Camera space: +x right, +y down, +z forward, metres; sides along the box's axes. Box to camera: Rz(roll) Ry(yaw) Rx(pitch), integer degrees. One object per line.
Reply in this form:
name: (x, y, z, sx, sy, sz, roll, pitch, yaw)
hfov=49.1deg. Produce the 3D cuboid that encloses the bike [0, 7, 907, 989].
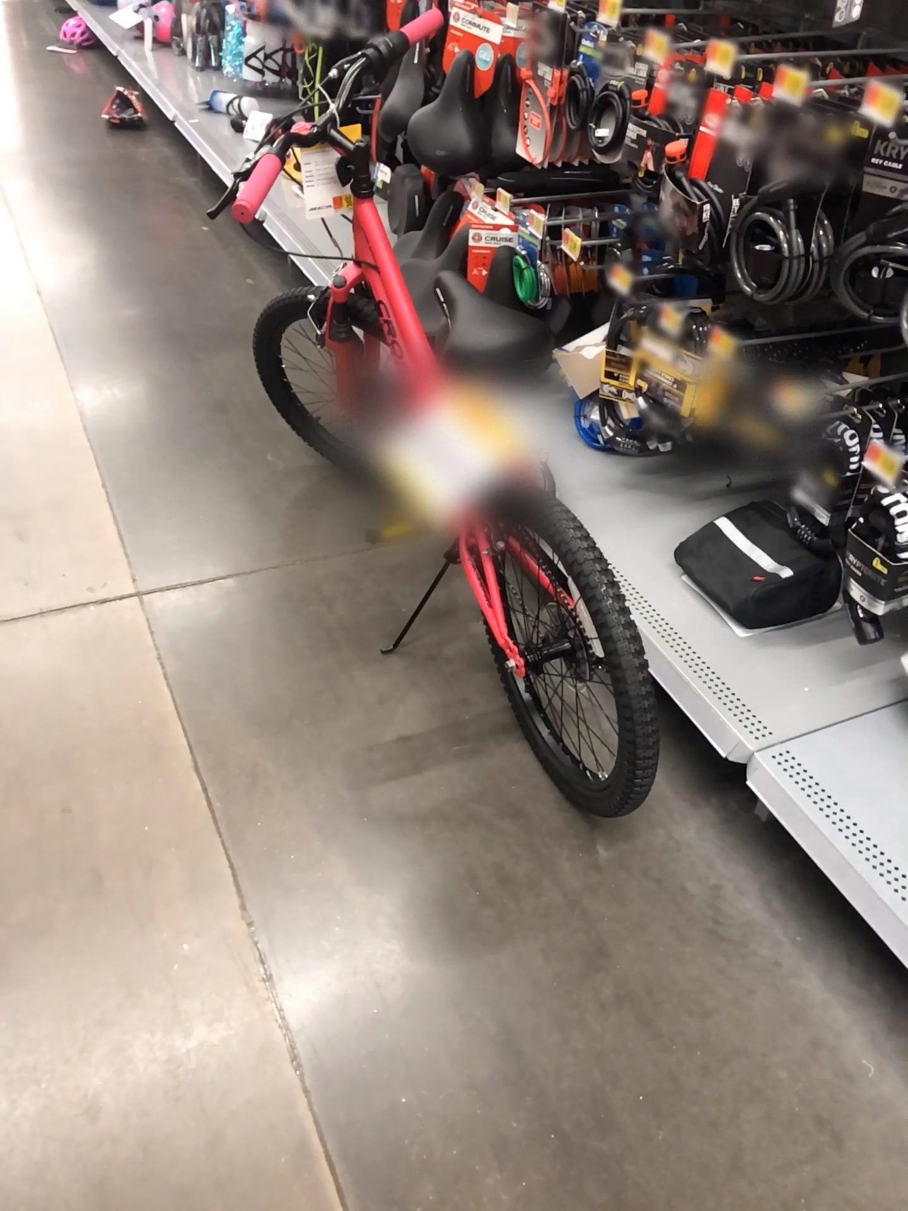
bike: (-0.156, -0.281, 1.459, 0.608, 0.877, 1.229, -16, 42, -24)
